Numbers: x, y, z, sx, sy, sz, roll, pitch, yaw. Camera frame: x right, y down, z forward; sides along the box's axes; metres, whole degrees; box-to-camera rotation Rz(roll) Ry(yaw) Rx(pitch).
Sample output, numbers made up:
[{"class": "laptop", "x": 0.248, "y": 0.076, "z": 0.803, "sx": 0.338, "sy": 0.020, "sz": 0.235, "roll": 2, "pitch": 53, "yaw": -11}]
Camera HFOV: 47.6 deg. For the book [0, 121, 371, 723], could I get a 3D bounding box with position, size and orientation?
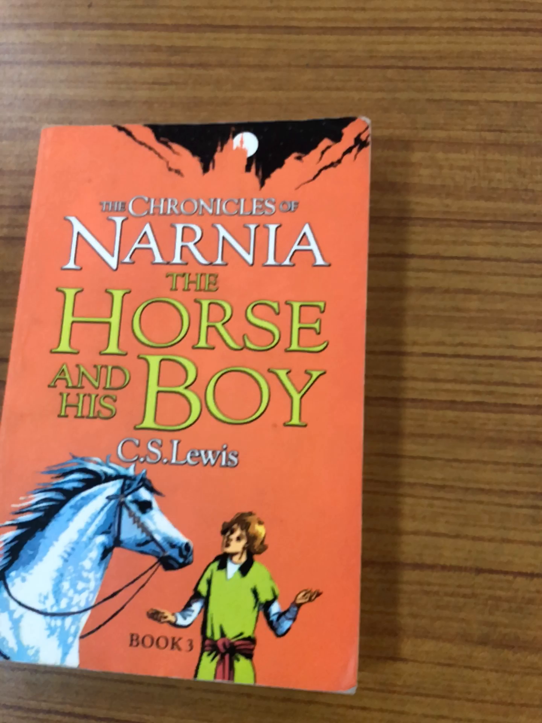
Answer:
[{"class": "book", "x": -0.033, "y": 0.011, "z": 0.214, "sx": 0.130, "sy": 0.030, "sz": 0.190, "roll": 2, "pitch": 79, "yaw": 5}]
